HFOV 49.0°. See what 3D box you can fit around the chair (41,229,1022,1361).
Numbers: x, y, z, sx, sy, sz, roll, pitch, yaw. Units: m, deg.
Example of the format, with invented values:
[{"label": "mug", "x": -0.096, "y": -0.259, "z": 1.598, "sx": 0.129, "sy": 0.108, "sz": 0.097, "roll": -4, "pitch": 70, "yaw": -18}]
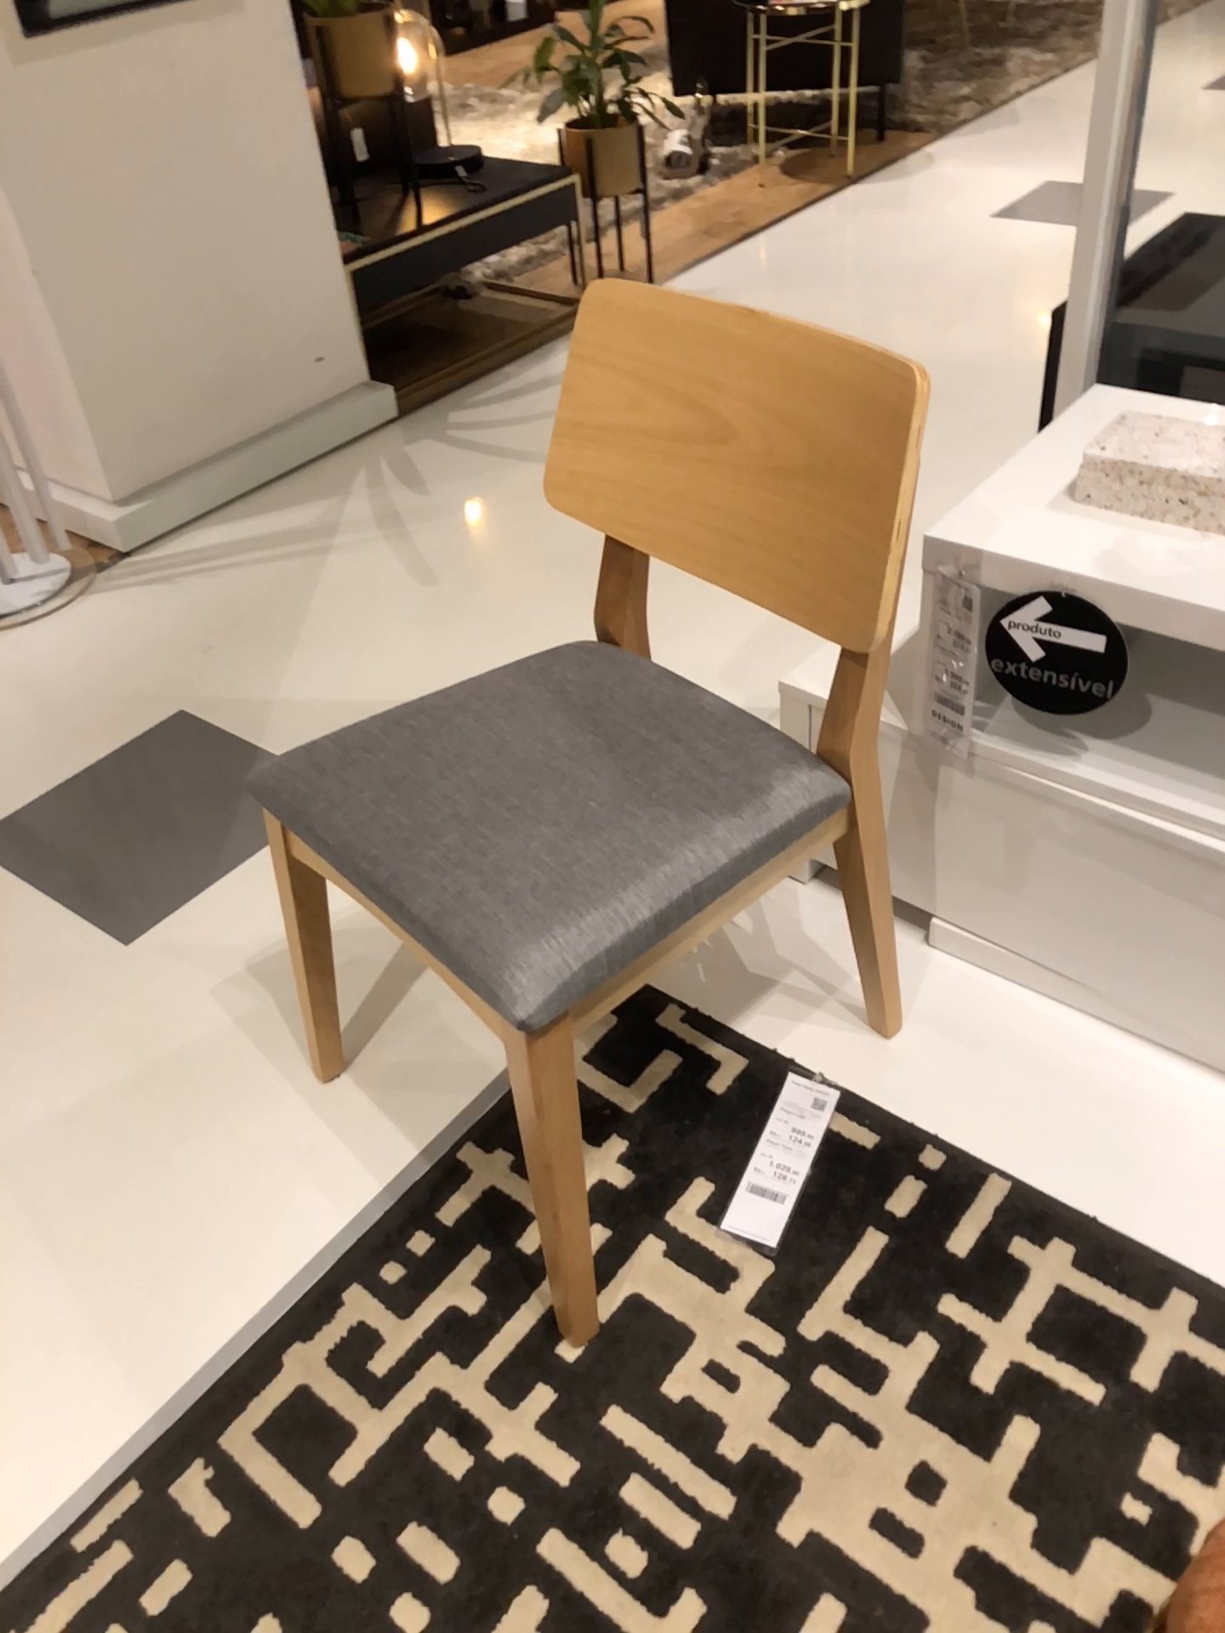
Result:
[{"label": "chair", "x": -0.044, "y": -0.045, "z": 1.329, "sx": 0.582, "sy": 0.794, "sz": 0.543, "roll": -32, "pitch": 46, "yaw": -29}]
